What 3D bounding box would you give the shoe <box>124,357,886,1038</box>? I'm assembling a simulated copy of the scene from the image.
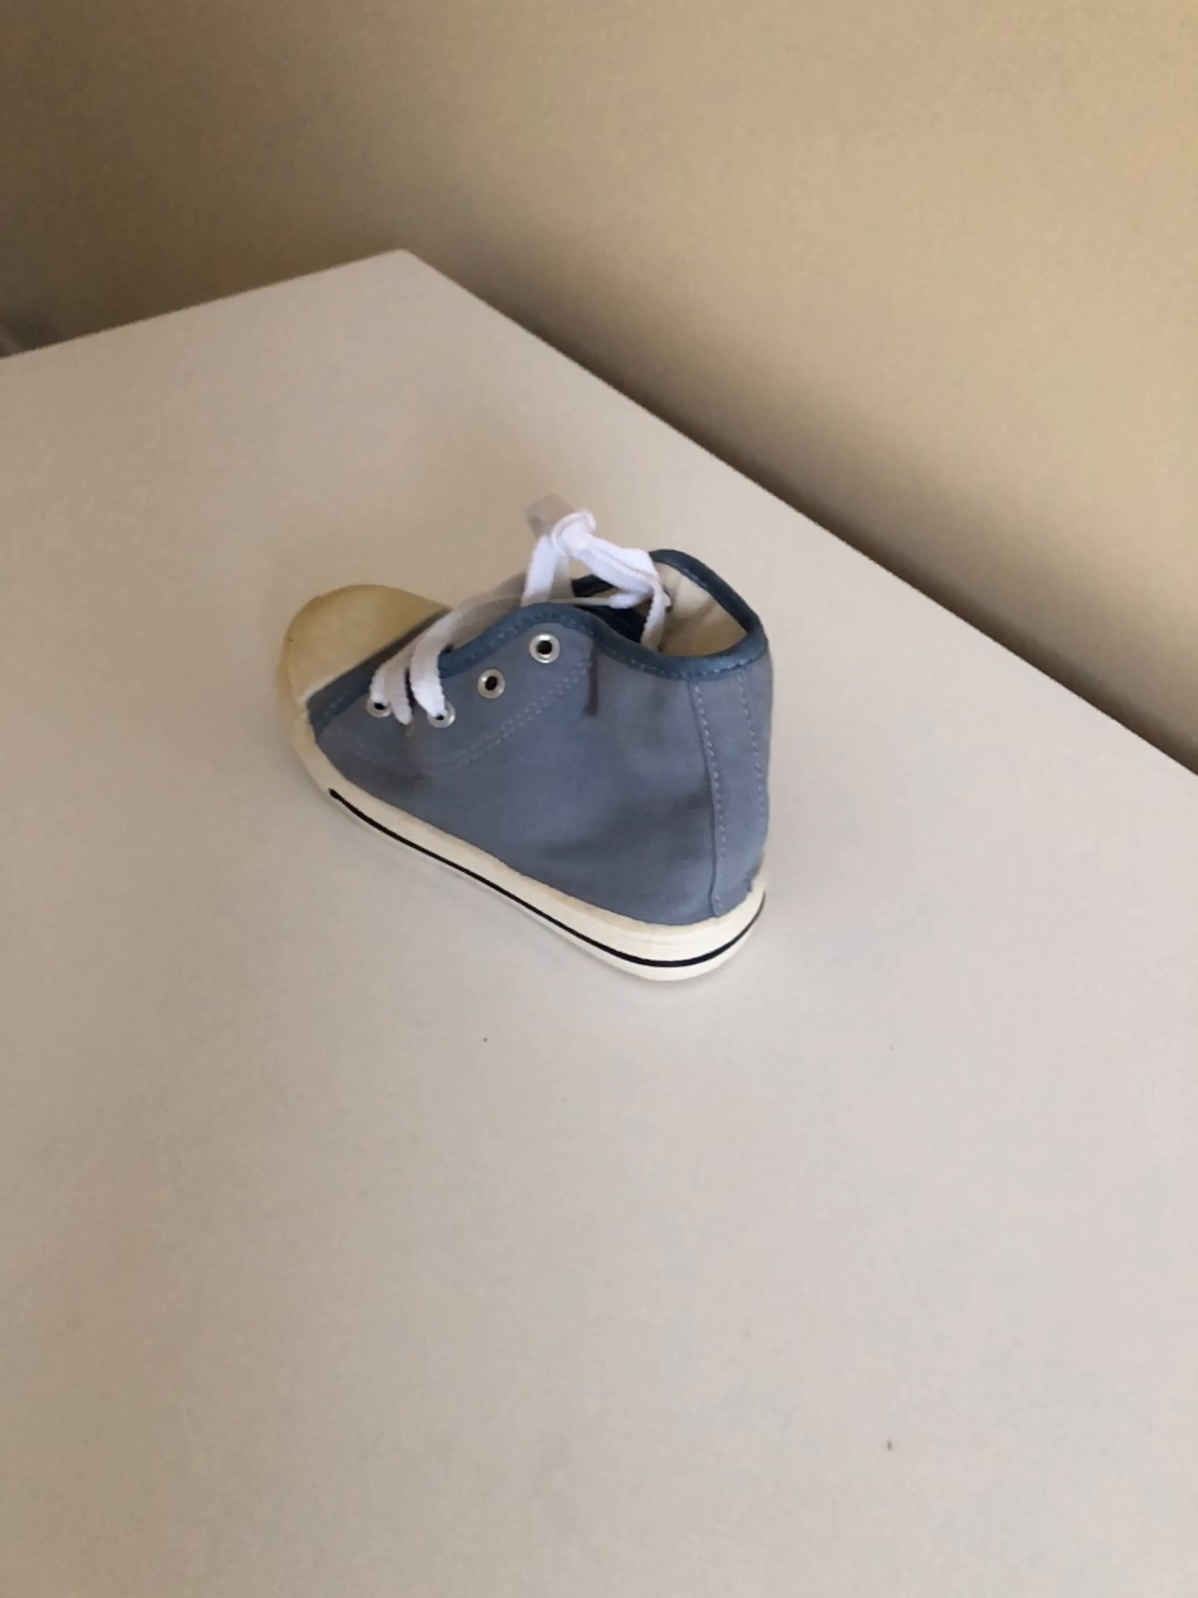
[{"bbox_3d":[-0.030,-0.037,0.375,0.190,0.099,0.080,29,51,26],"label":"shoe"}]
